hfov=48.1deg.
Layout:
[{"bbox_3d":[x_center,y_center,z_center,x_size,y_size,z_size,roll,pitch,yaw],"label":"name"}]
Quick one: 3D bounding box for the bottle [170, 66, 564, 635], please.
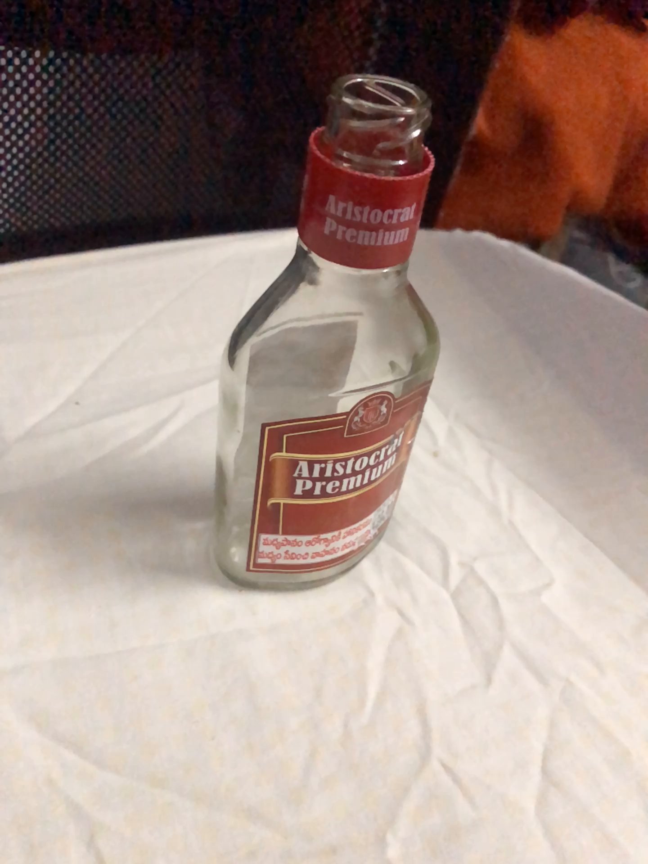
[{"bbox_3d":[-0.001,-0.014,0.229,0.080,0.179,0.040,-15,50,-27],"label":"bottle"}]
